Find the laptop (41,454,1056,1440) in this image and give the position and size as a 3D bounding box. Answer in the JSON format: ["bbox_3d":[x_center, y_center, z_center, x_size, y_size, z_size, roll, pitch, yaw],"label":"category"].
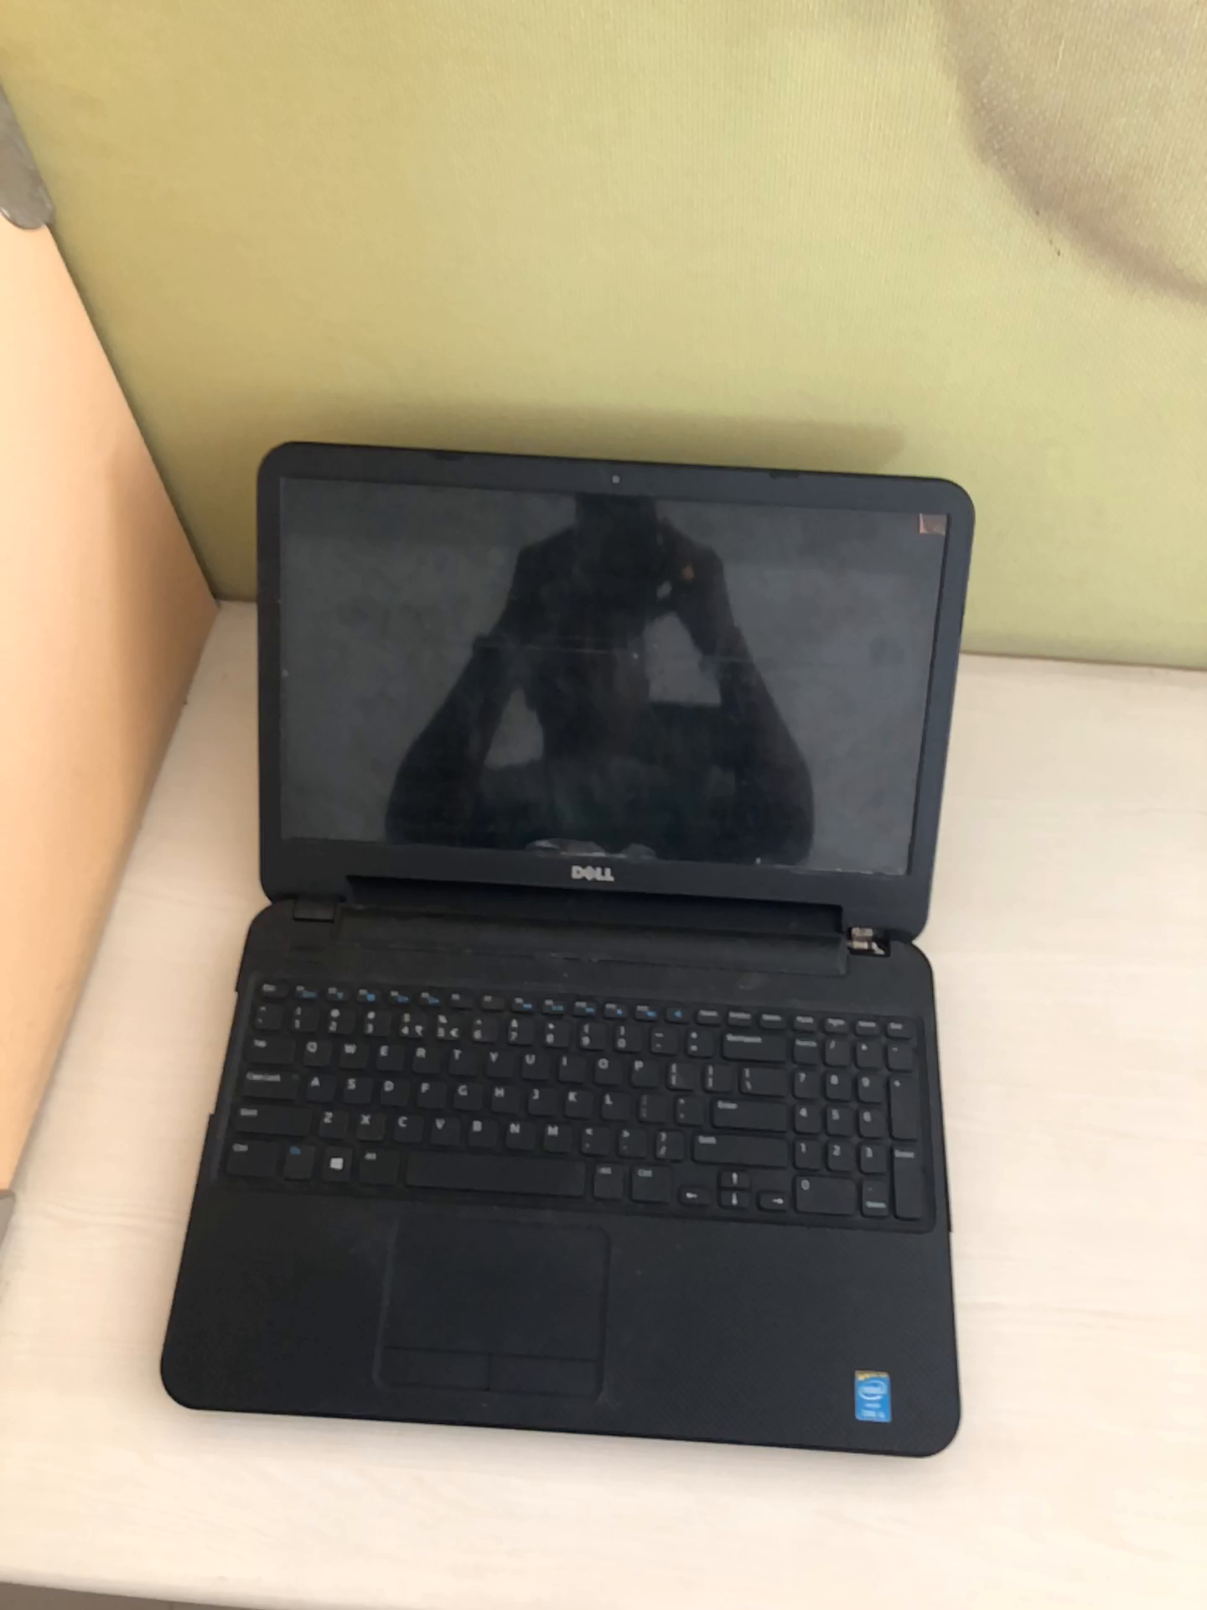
[{"bbox_3d":[-0.007,0.054,0.646,0.356,0.165,0.426,3,60,1],"label":"laptop"}]
